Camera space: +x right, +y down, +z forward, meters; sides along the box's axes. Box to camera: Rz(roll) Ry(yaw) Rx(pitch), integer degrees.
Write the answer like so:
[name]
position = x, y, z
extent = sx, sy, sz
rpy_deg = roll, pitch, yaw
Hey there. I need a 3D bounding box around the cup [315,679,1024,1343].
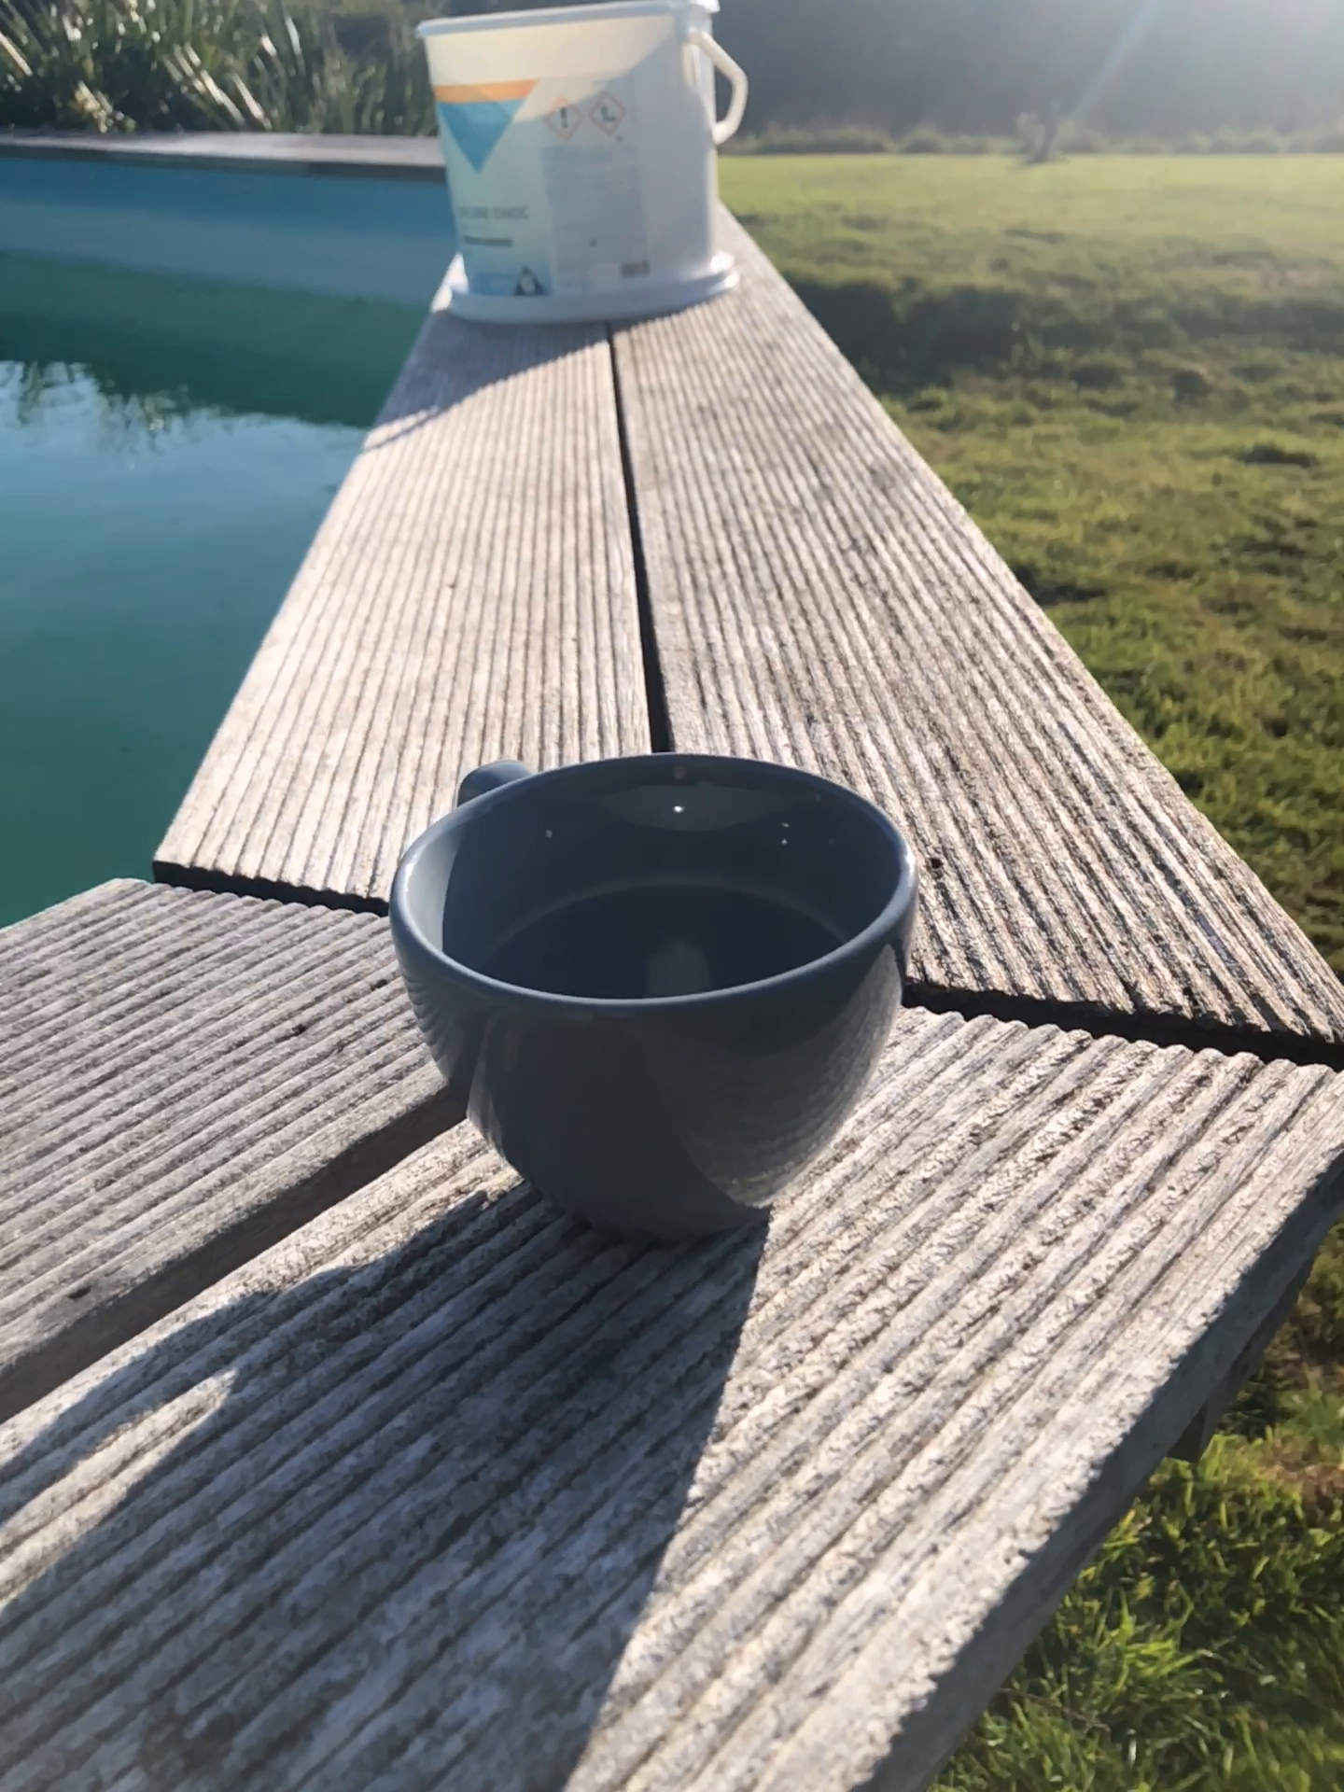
[cup]
position = -0.007, 0.011, 0.265
extent = 0.091, 0.052, 0.105
rpy_deg = -12, 32, -16
